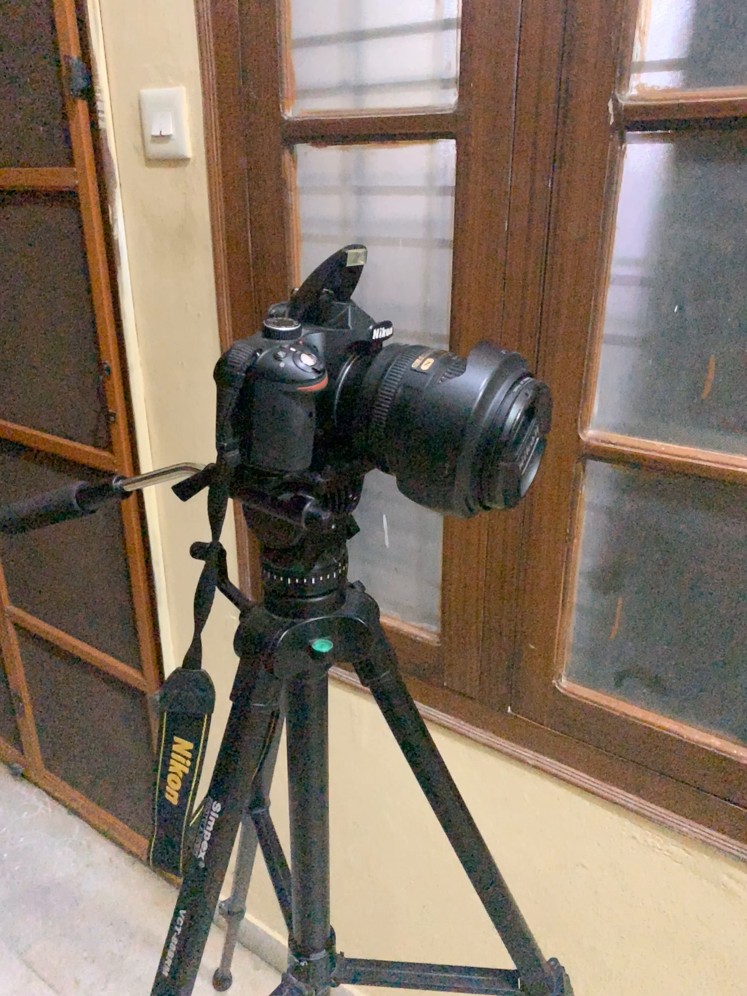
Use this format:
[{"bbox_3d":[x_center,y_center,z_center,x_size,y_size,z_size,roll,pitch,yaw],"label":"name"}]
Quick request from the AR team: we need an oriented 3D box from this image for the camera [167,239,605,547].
[{"bbox_3d":[0.010,-0.080,0.458,0.200,0.129,0.150,13,26,29],"label":"camera"}]
